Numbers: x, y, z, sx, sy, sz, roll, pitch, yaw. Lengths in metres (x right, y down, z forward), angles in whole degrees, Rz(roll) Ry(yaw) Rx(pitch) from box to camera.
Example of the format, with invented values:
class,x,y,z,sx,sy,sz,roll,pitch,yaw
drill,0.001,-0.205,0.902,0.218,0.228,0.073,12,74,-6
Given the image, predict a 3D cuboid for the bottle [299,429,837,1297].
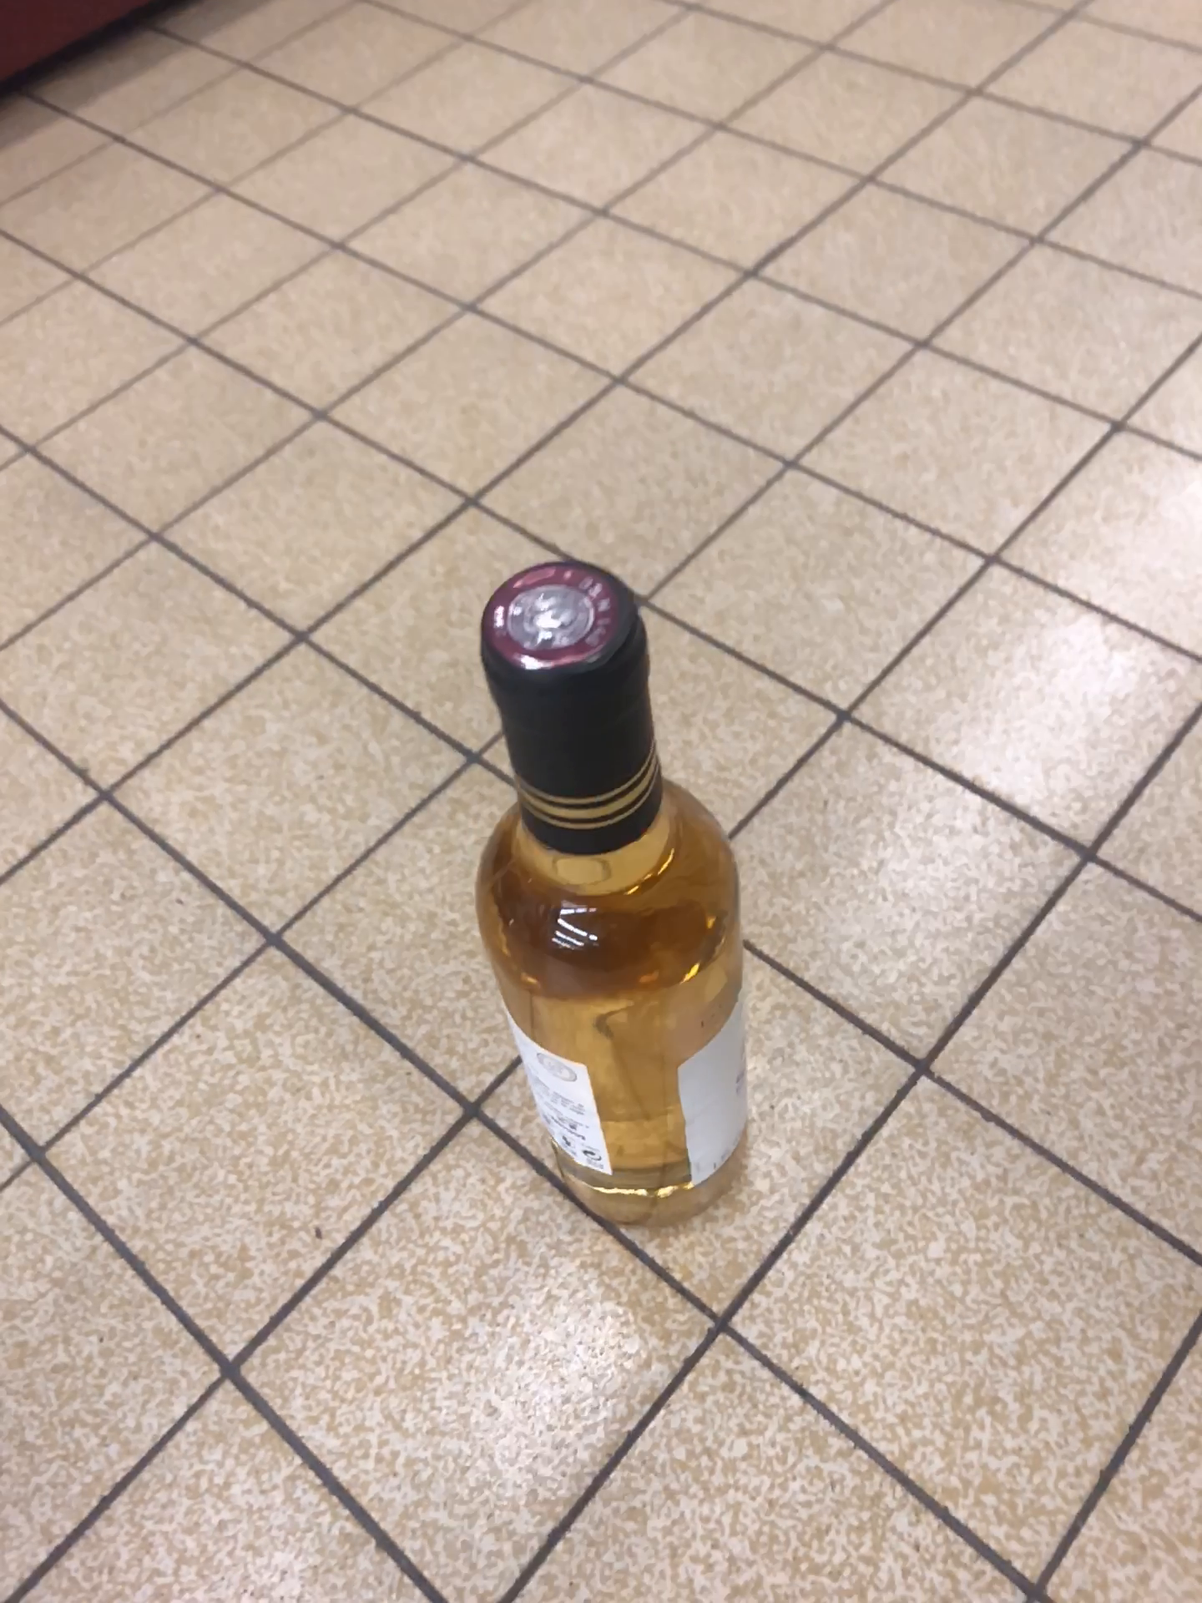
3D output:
class,x,y,z,sx,sy,sz,roll,pitch,yaw
bottle,0.003,0.038,0.322,0.070,0.239,0.070,-3,54,4
